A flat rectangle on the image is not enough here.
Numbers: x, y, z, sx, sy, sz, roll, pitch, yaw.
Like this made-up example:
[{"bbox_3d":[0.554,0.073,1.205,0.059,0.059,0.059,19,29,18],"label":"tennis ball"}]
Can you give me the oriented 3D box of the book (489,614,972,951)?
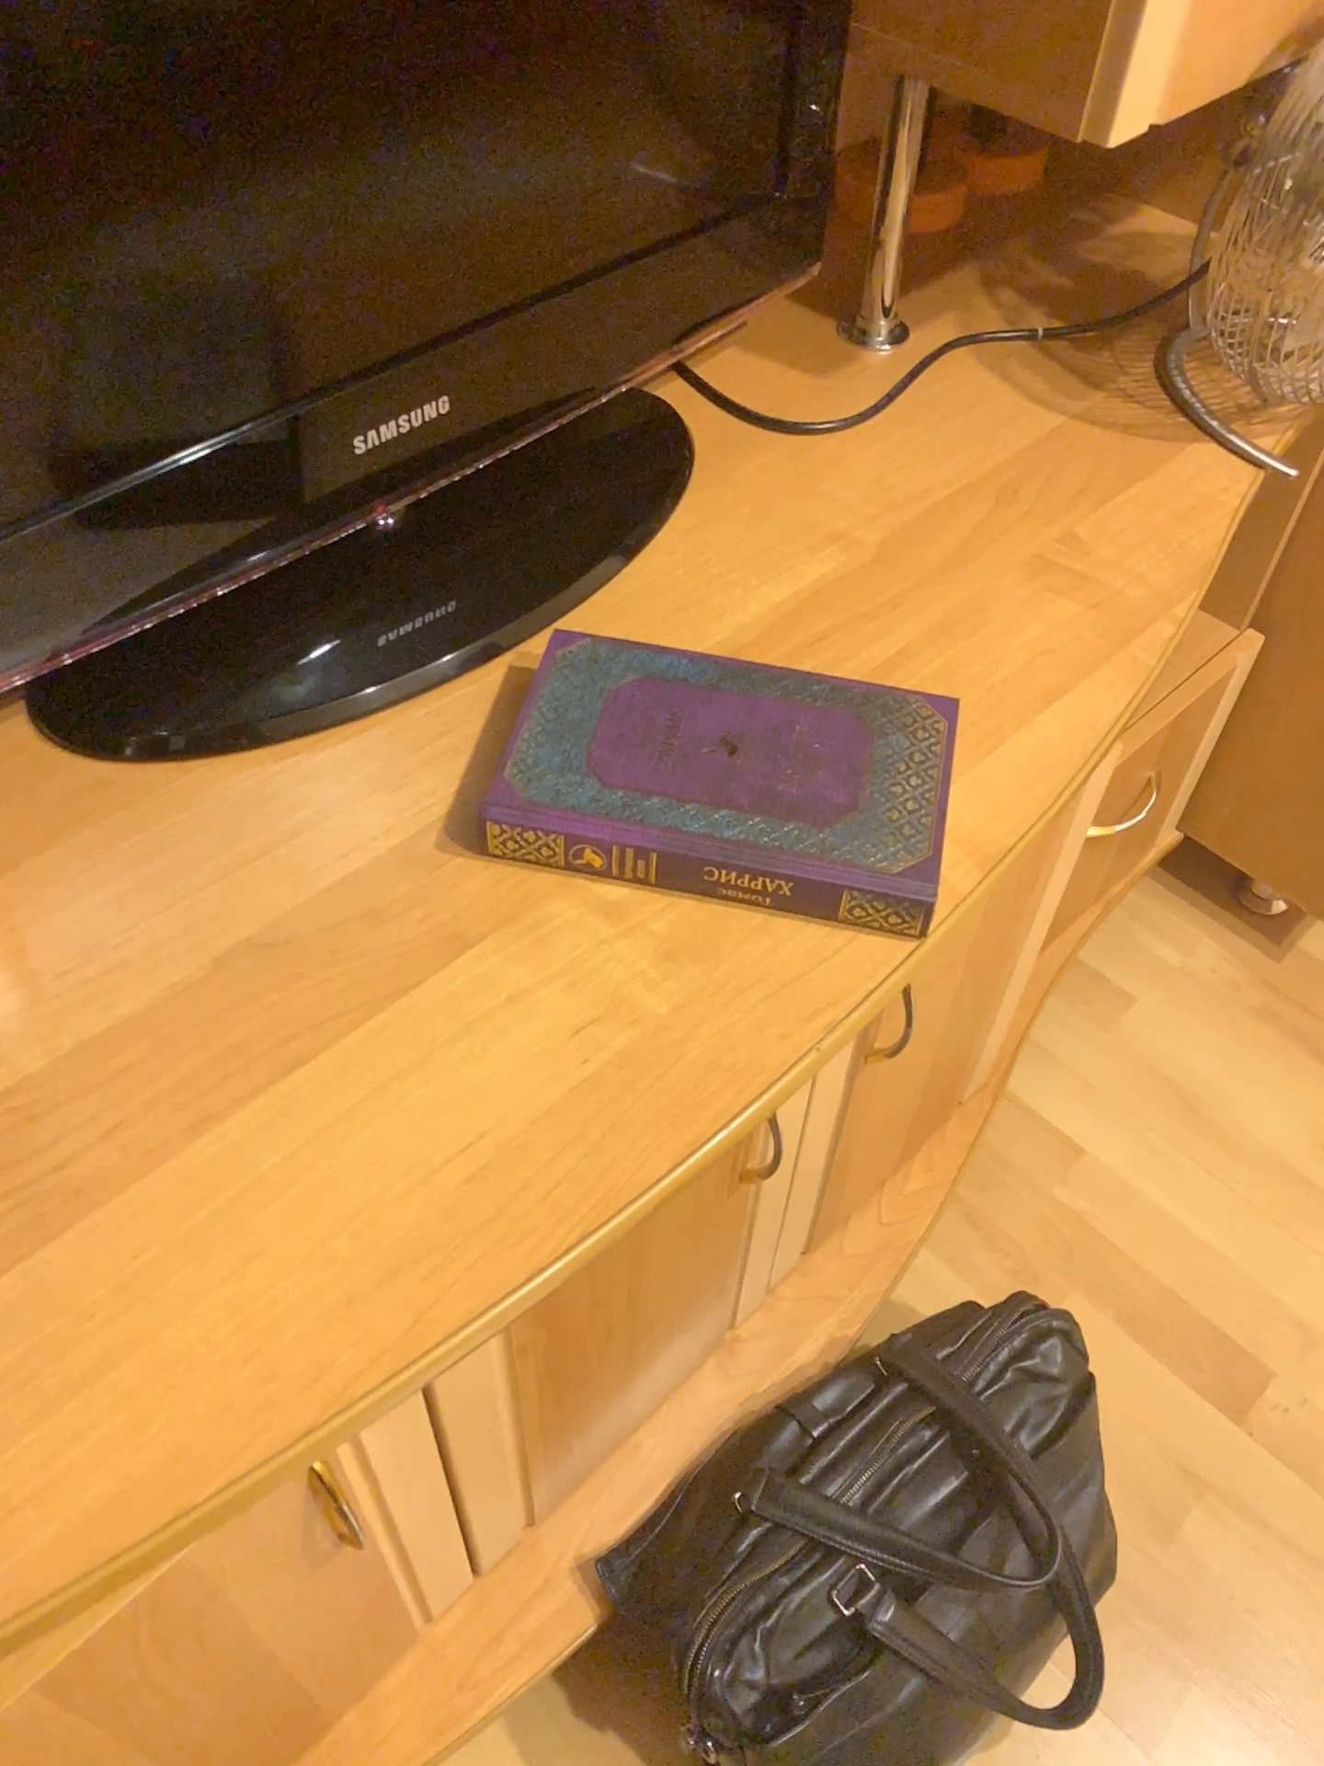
[{"bbox_3d":[0.036,-0.051,0.626,0.200,0.040,0.131,11,50,5],"label":"book"}]
